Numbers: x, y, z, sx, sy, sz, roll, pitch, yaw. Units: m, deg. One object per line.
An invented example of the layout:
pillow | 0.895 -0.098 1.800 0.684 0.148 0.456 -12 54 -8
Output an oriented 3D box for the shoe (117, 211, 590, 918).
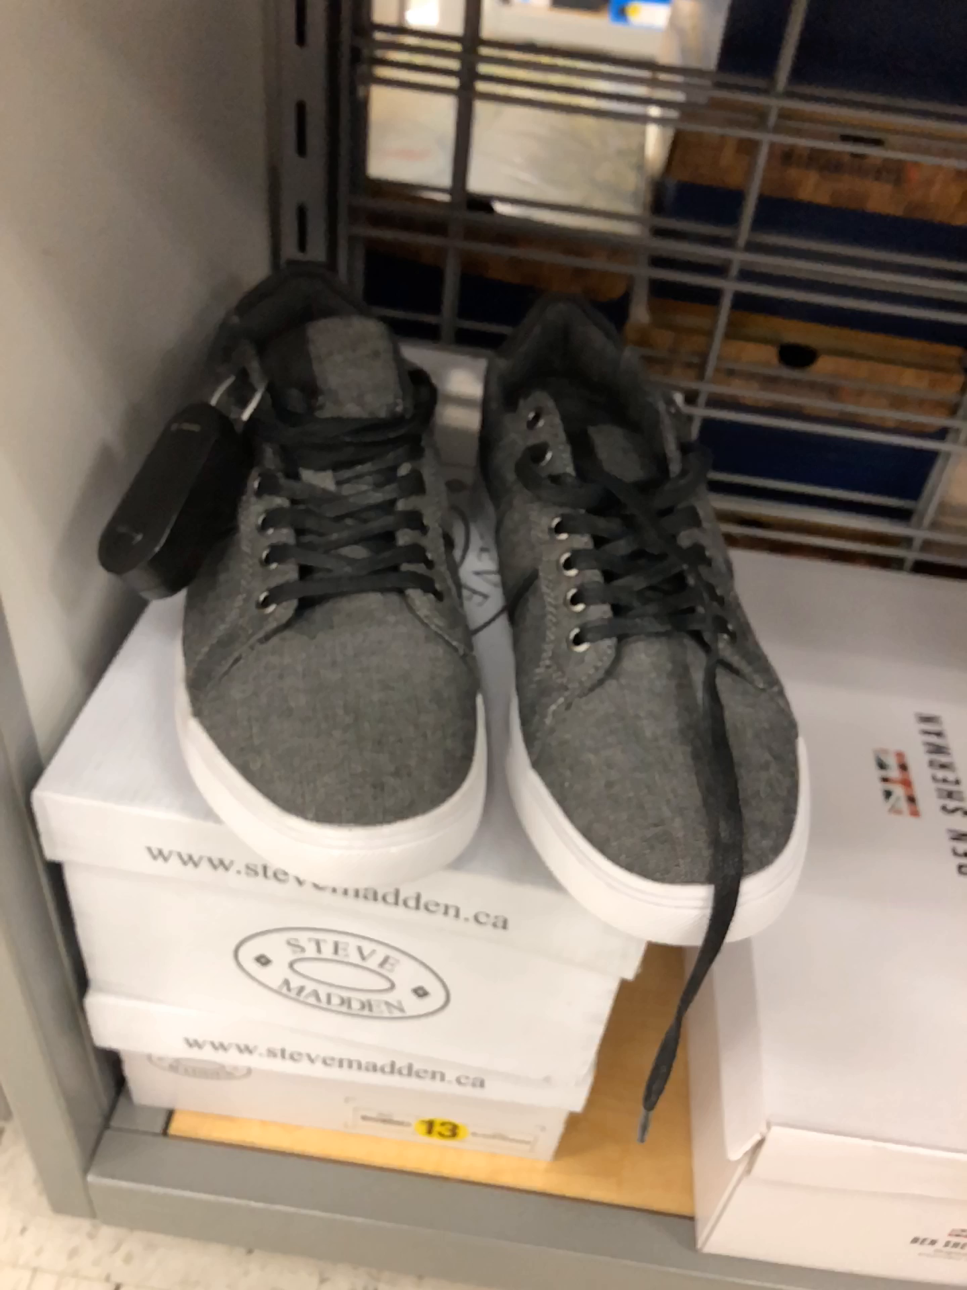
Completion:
shoe | -0.056 -0.049 0.381 0.110 0.106 0.255 -3 42 -12

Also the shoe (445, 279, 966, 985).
shoe | 0.052 -0.024 0.390 0.100 0.106 0.255 0 42 -9
